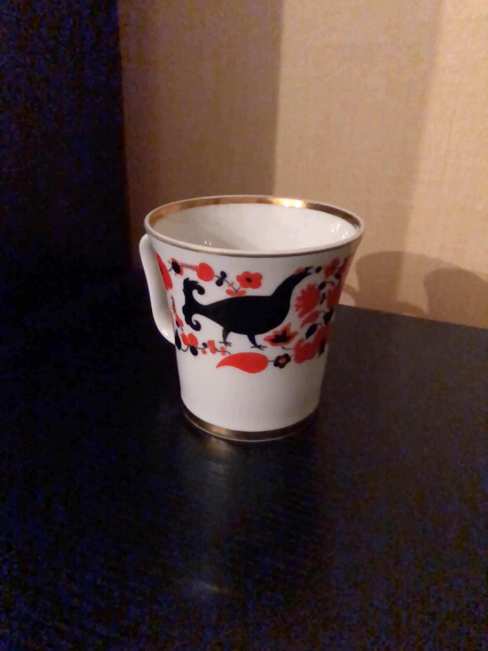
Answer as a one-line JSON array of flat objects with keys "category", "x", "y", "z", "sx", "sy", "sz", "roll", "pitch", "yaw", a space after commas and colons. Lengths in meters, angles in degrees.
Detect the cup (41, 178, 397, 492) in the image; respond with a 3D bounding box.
[{"category": "cup", "x": -0.007, "y": -0.009, "z": 0.260, "sx": 0.125, "sy": 0.092, "sz": 0.103, "roll": 14, "pitch": 28, "yaw": 23}]
